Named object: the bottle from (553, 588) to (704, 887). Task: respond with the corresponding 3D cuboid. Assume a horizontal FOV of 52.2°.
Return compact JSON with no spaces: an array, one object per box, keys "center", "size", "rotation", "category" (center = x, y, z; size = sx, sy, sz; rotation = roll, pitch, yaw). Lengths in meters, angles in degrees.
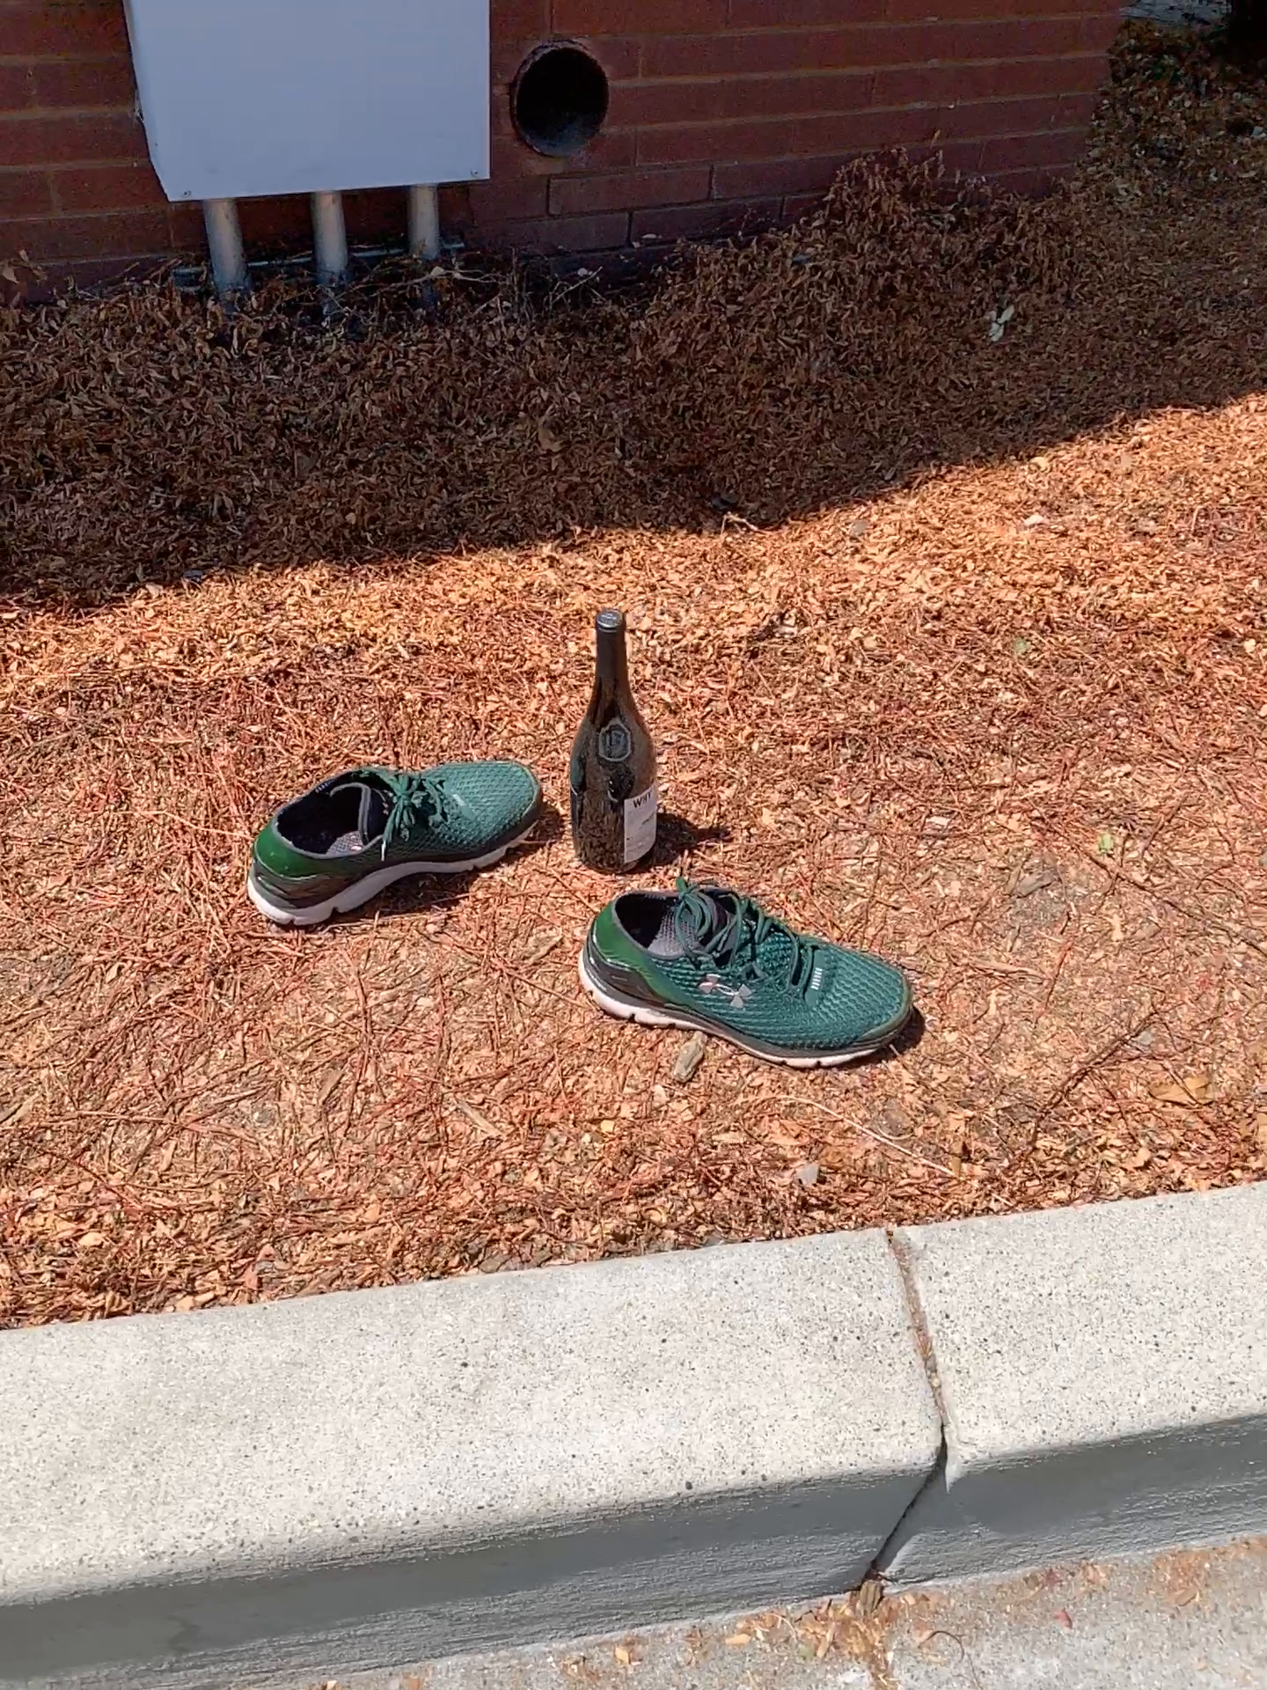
[{"center":[-0.009,-0.094,1.203],"size":[0.090,0.259,0.090],"rotation":[3,46,-3],"category":"bottle"}]
